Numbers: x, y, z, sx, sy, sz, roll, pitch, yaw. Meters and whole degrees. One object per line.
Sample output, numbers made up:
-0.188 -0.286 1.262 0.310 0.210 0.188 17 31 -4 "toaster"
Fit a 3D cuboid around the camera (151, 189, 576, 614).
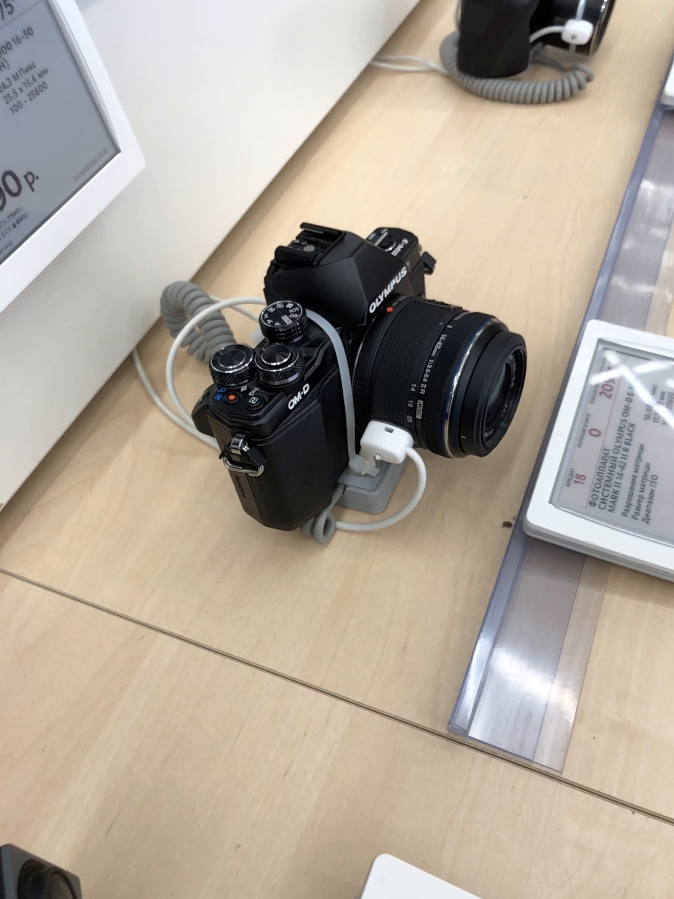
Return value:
0.017 -0.023 0.275 0.100 0.079 0.112 18 56 25 "camera"
